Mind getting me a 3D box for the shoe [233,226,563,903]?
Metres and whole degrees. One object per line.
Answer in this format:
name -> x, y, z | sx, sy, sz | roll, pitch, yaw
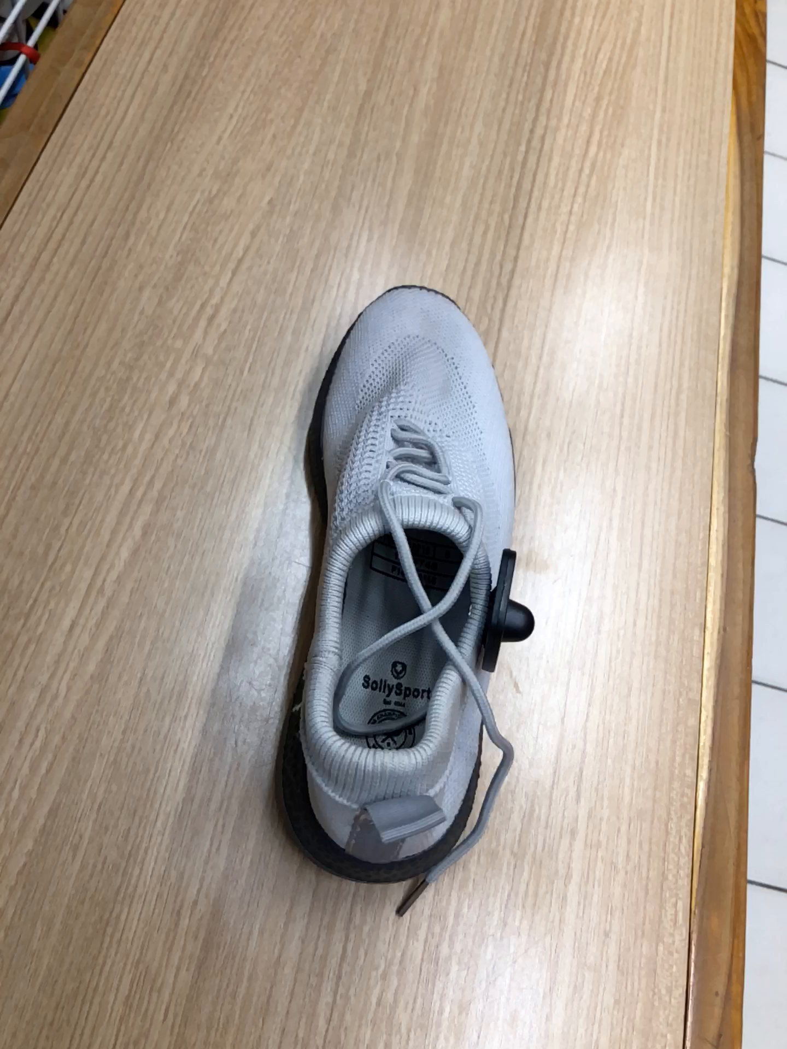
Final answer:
shoe -> 0.006, 0.016, 0.388 | 0.100, 0.100, 0.271 | 11, 65, -7
